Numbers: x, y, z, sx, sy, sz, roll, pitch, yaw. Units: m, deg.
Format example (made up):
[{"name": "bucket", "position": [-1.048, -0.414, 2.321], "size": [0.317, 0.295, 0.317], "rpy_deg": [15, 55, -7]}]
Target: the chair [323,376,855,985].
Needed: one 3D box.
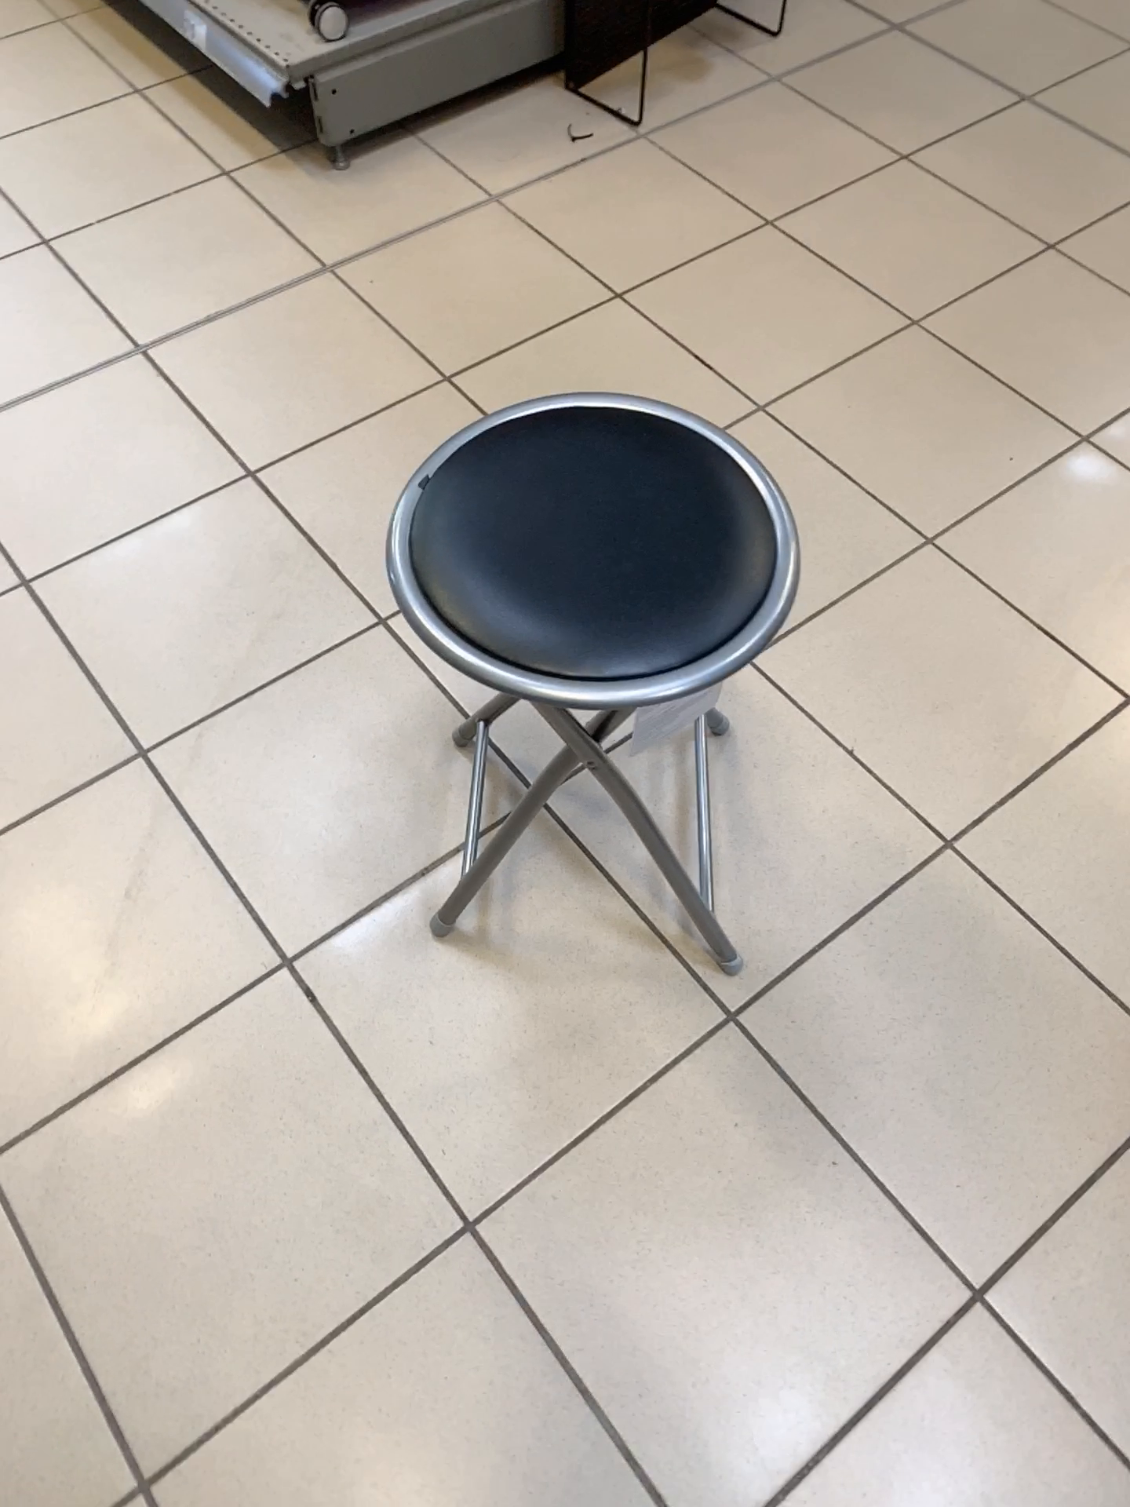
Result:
[{"name": "chair", "position": [0.021, -0.042, 0.982], "size": [0.334, 0.402, 0.329], "rpy_deg": [3, 57, 1]}]
